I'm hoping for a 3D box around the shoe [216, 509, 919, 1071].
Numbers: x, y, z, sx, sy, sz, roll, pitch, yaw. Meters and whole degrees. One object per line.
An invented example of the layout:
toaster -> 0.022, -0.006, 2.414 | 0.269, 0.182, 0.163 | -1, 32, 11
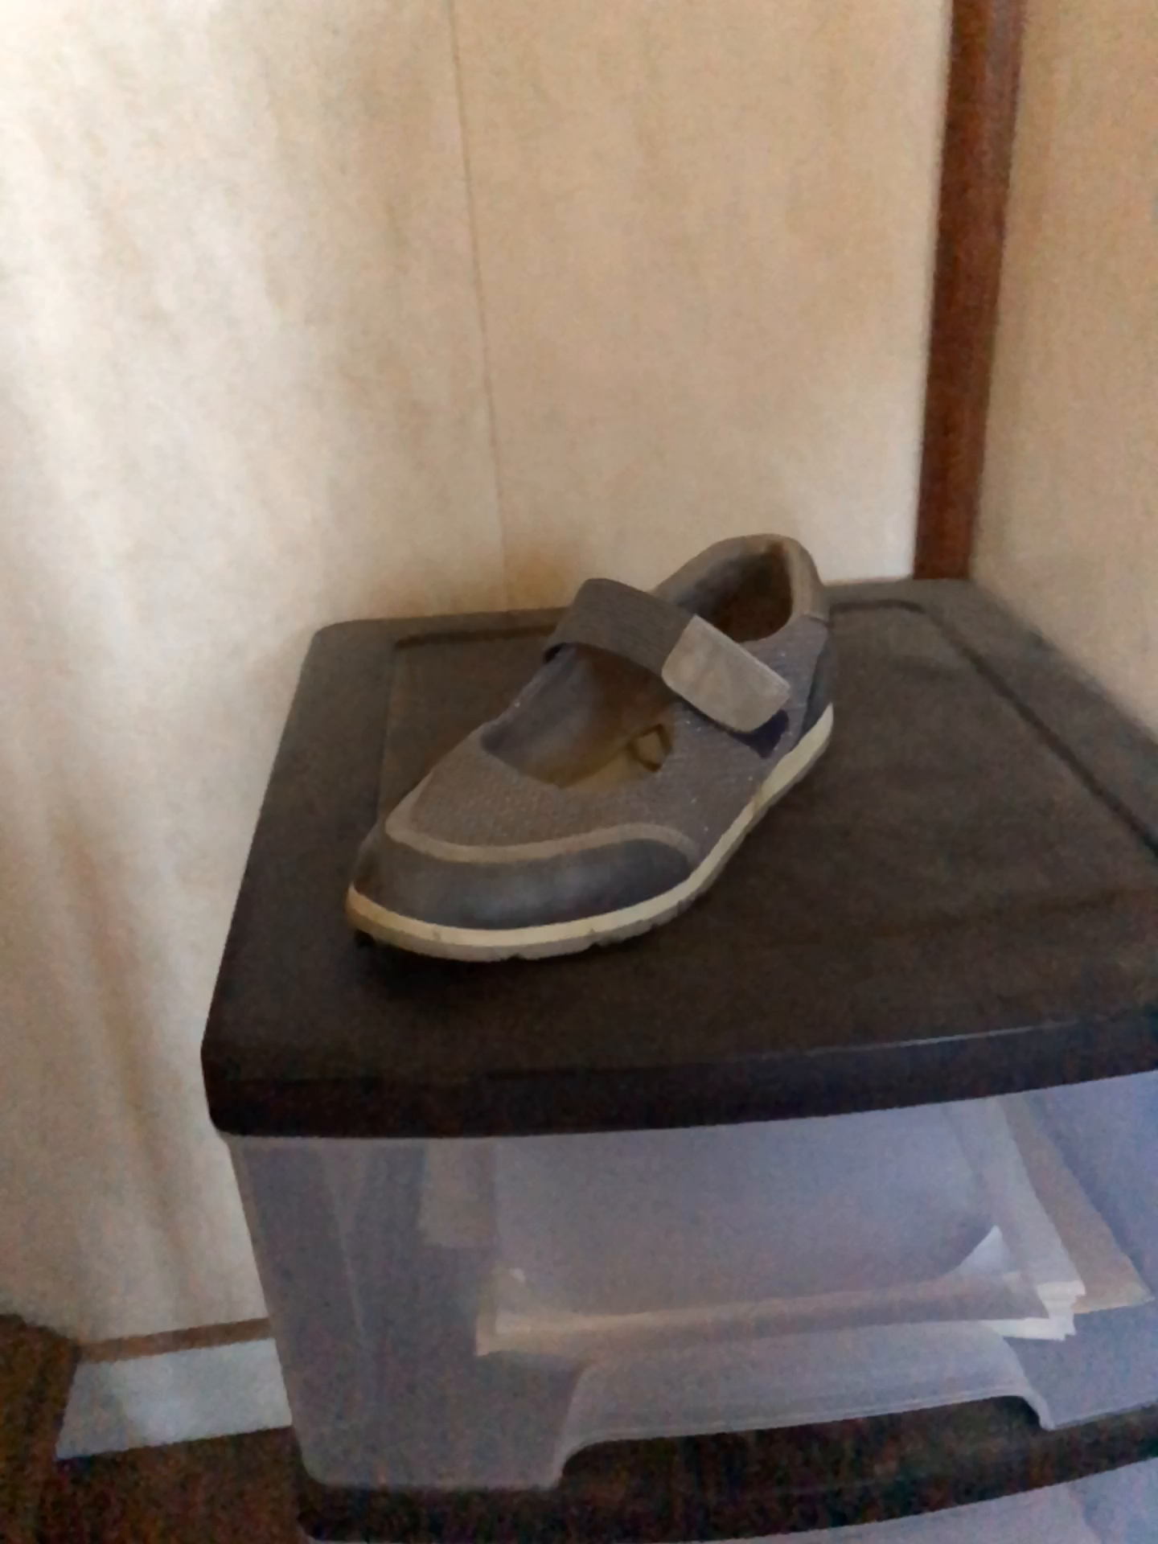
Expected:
shoe -> 0.015, -0.016, 0.461 | 0.110, 0.080, 0.261 | 16, 33, 34
